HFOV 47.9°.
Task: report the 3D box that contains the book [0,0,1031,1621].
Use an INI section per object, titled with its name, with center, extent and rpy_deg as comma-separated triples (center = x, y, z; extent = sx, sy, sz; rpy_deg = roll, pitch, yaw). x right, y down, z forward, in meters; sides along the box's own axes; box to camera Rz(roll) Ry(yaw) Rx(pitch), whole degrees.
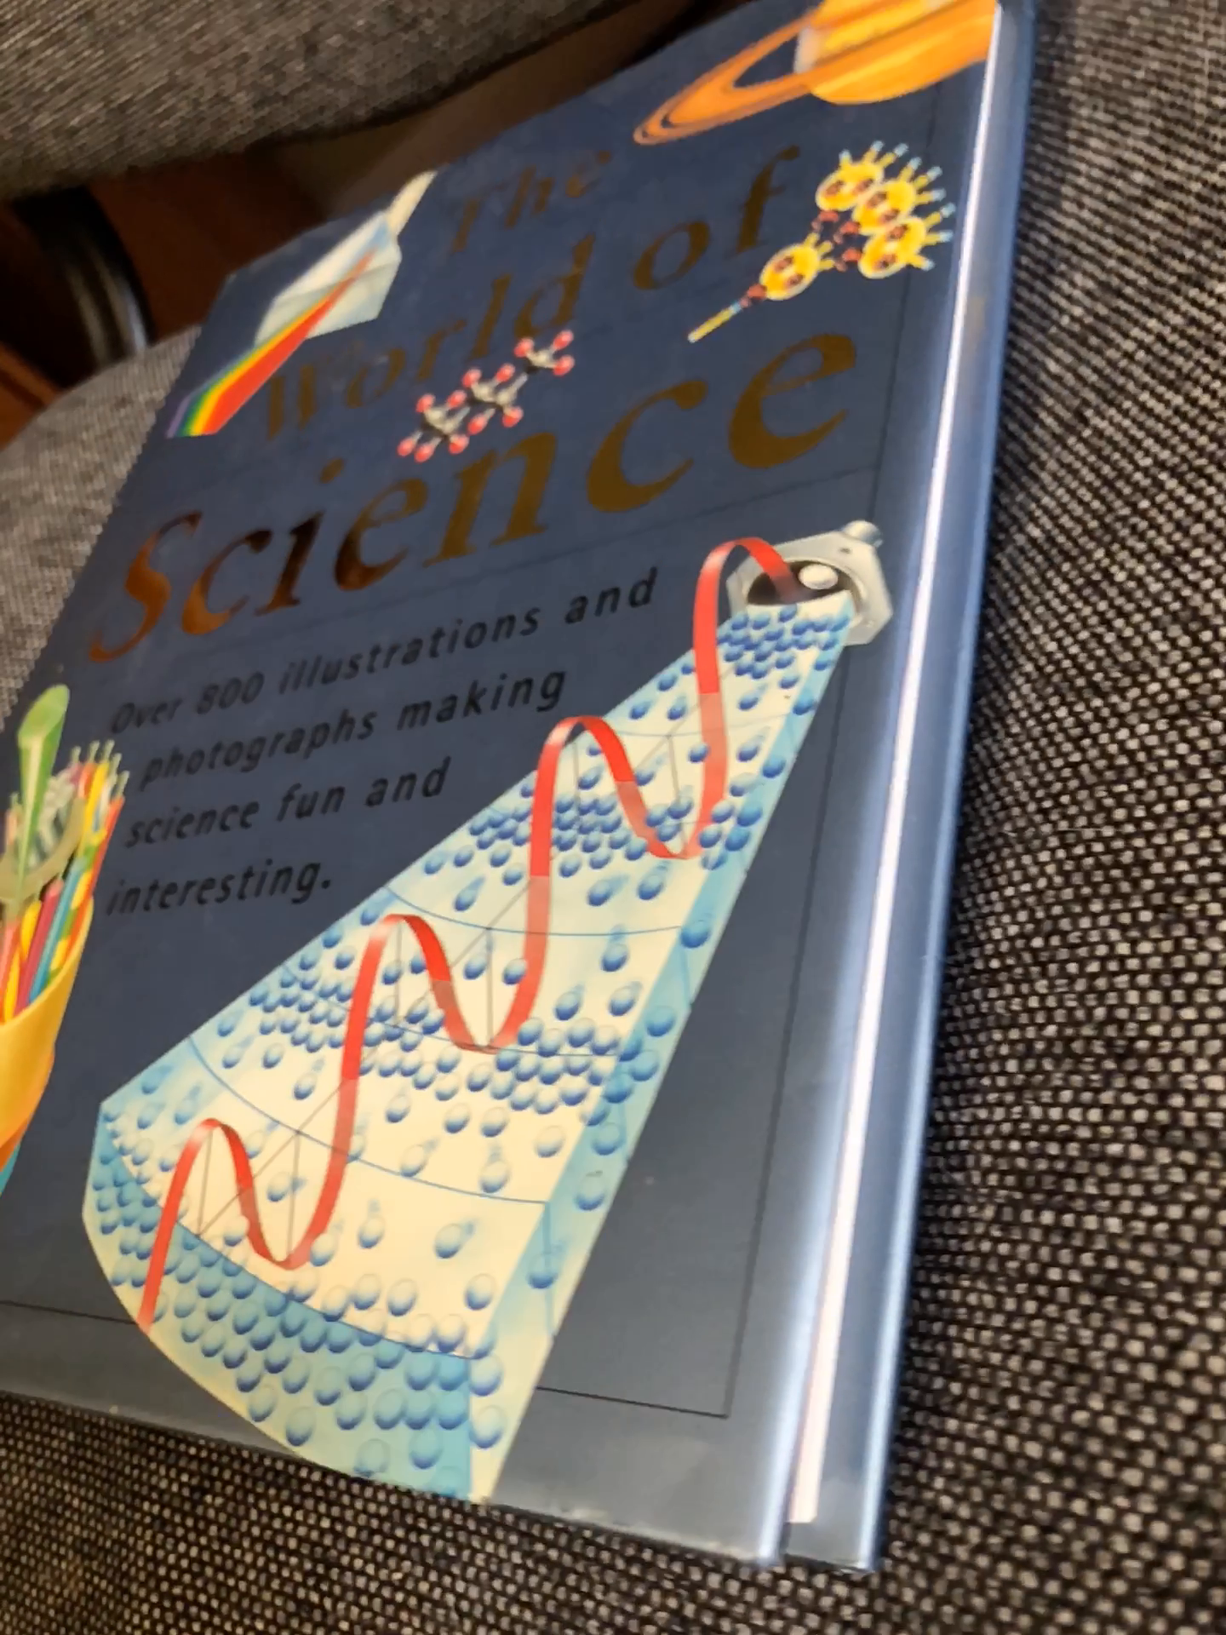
[book]
center = -0.043, -0.032, 0.254
extent = 0.221, 0.030, 0.276
rpy_deg = -9, 56, 34
